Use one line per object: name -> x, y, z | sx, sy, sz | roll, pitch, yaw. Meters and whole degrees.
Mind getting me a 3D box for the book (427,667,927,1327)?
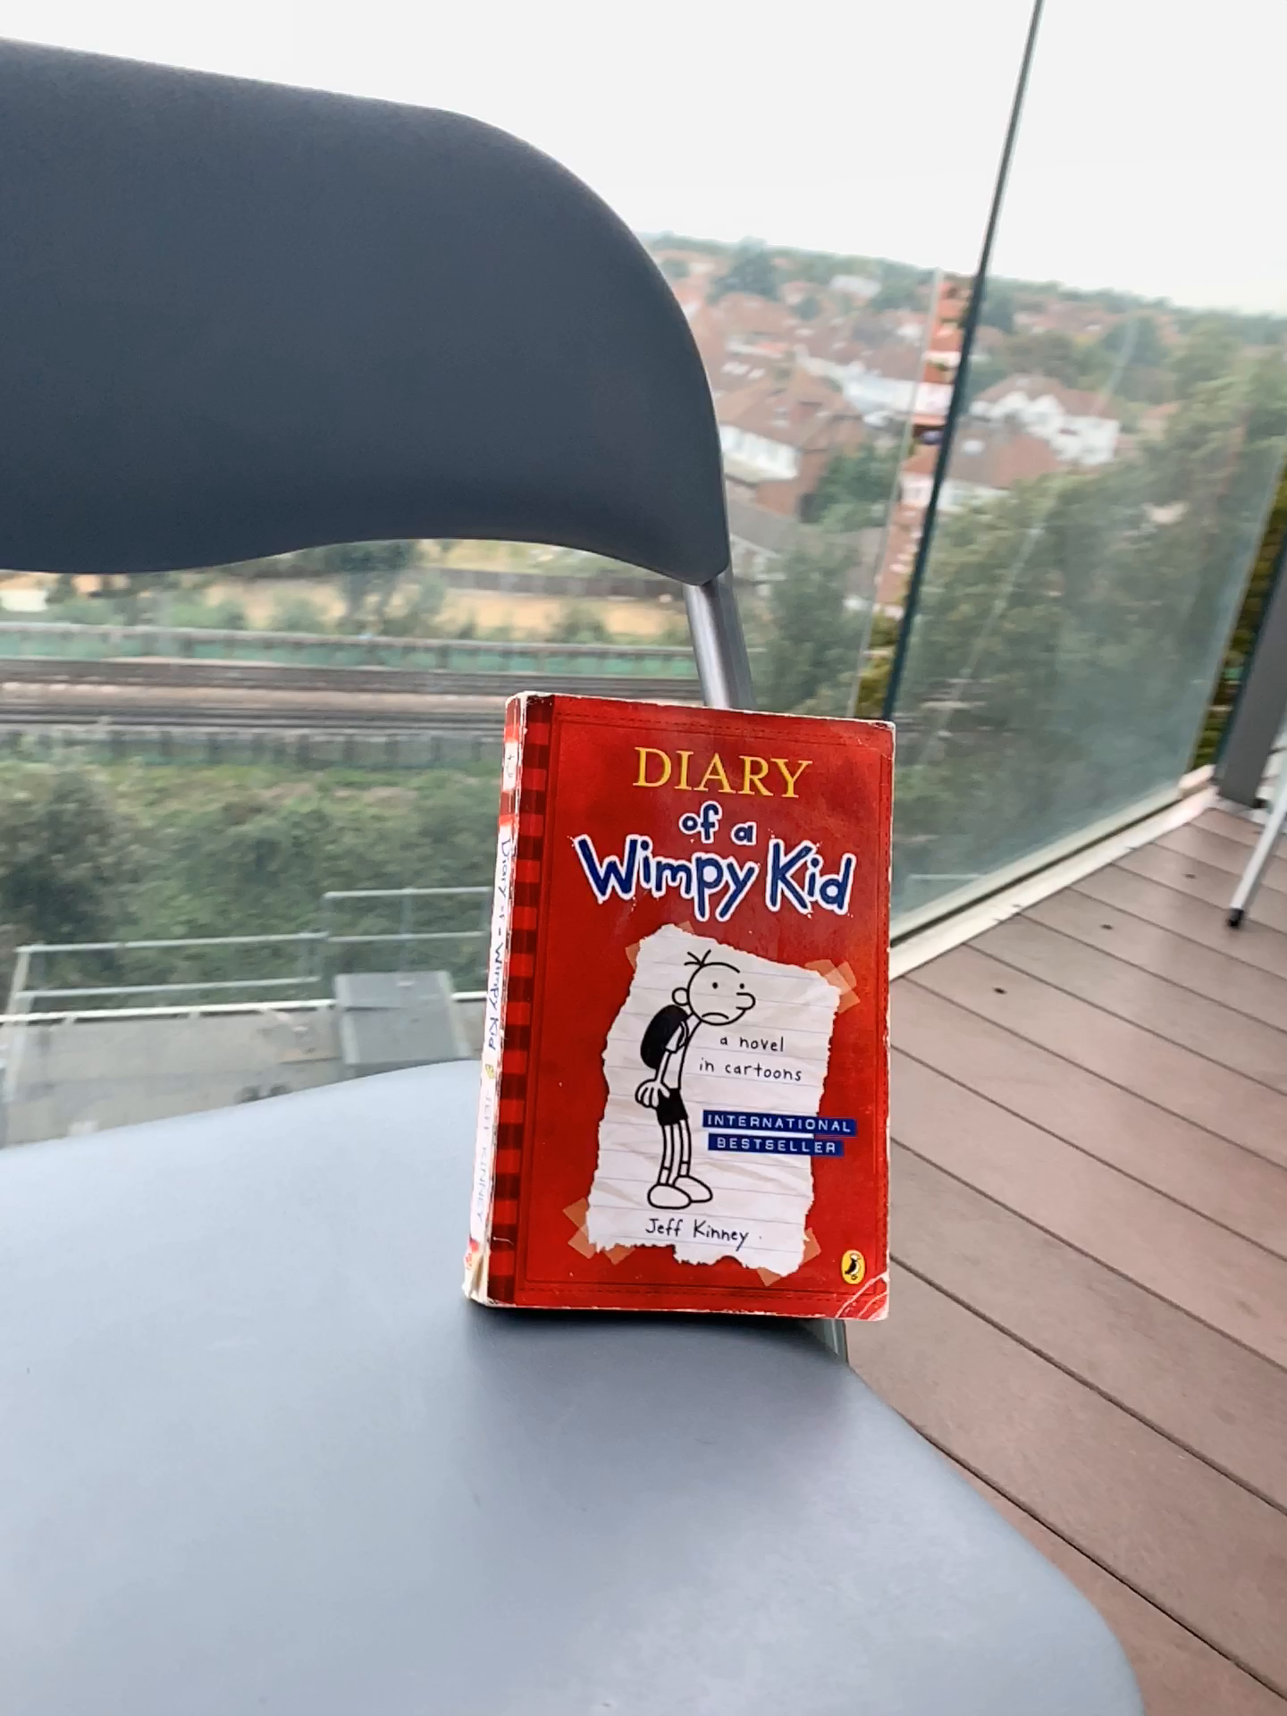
book -> 0.012, 0.045, 0.441 | 0.150, 0.201, 0.040 | 4, -8, -7
